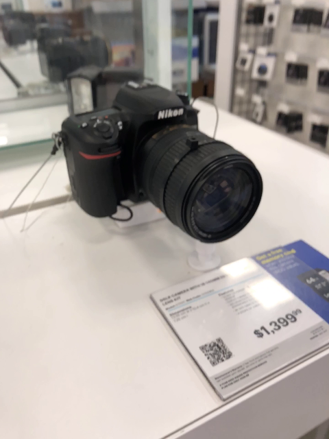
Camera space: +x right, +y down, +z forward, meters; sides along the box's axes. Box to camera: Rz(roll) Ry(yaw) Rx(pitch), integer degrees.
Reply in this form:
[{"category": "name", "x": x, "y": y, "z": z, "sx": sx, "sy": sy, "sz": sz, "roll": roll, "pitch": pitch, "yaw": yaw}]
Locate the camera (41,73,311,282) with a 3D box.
[{"category": "camera", "x": 0.002, "y": -0.058, "z": 0.341, "sx": 0.160, "sy": 0.100, "sz": 0.171, "roll": -20, "pitch": 36, "yaw": -27}]
